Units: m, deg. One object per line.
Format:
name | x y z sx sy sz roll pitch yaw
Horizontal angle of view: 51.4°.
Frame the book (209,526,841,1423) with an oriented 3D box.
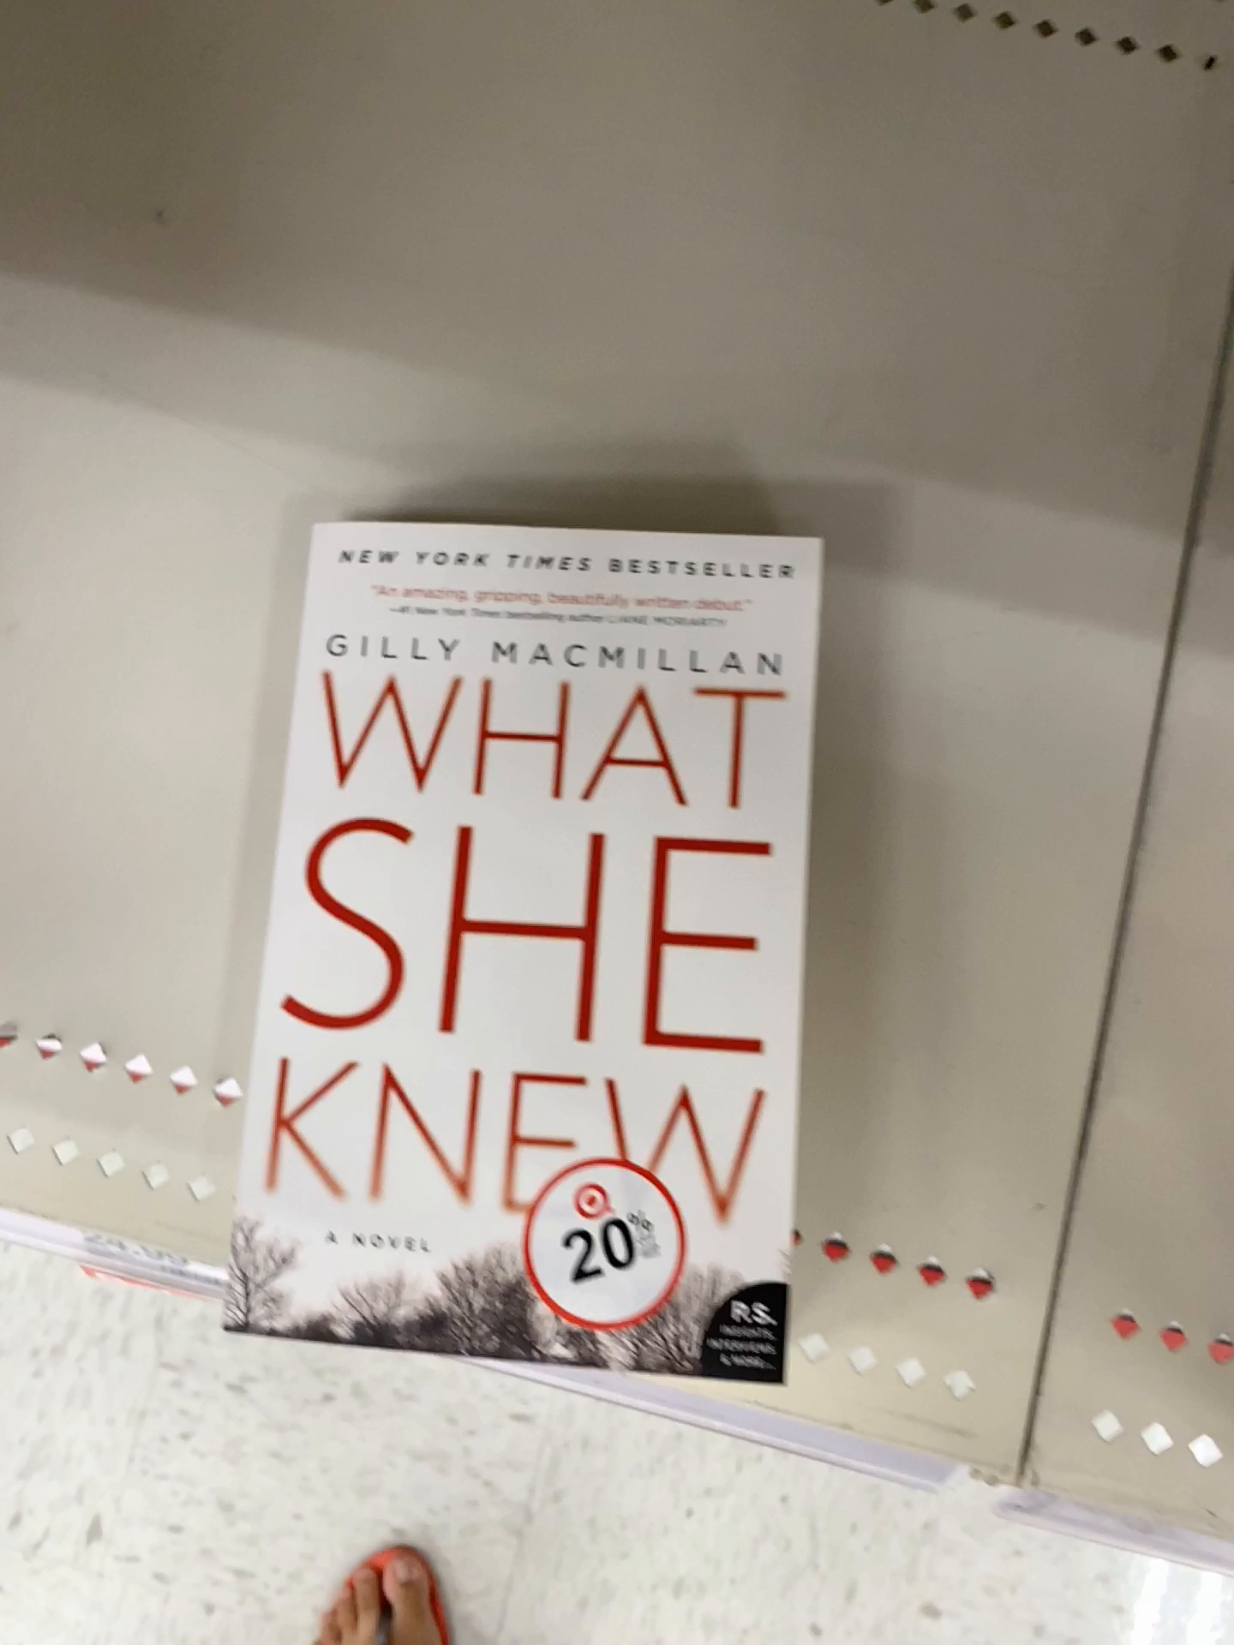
book | -0.017 0.031 0.315 0.130 0.041 0.197 3 79 4
